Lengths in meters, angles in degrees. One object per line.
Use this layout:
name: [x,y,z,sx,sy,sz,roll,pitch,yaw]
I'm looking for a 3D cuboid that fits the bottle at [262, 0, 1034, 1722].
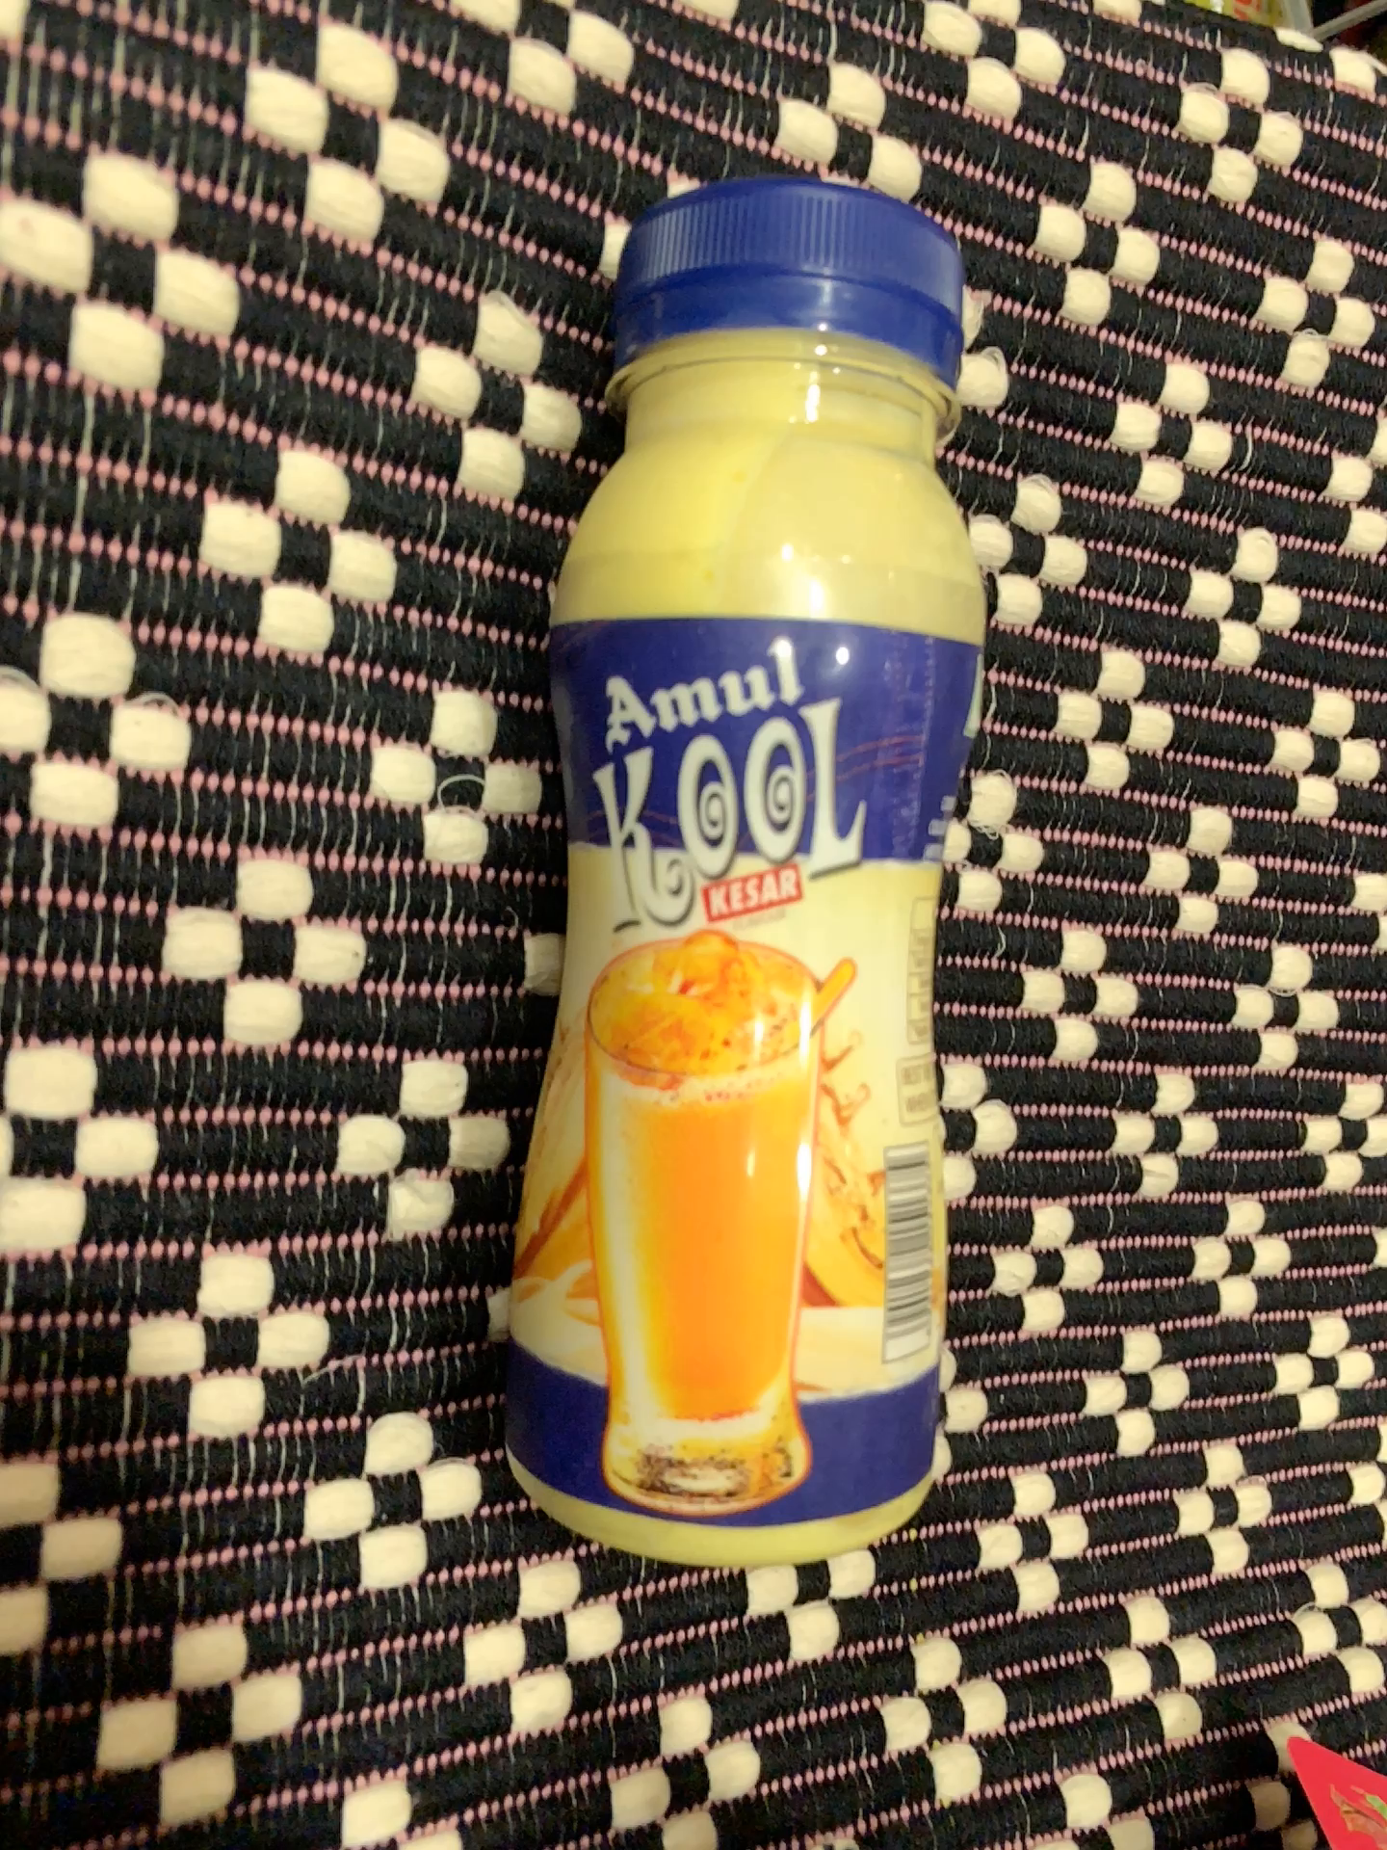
bottle: [0.001,-0.014,0.158,0.060,0.060,0.160,5,89,-74]
